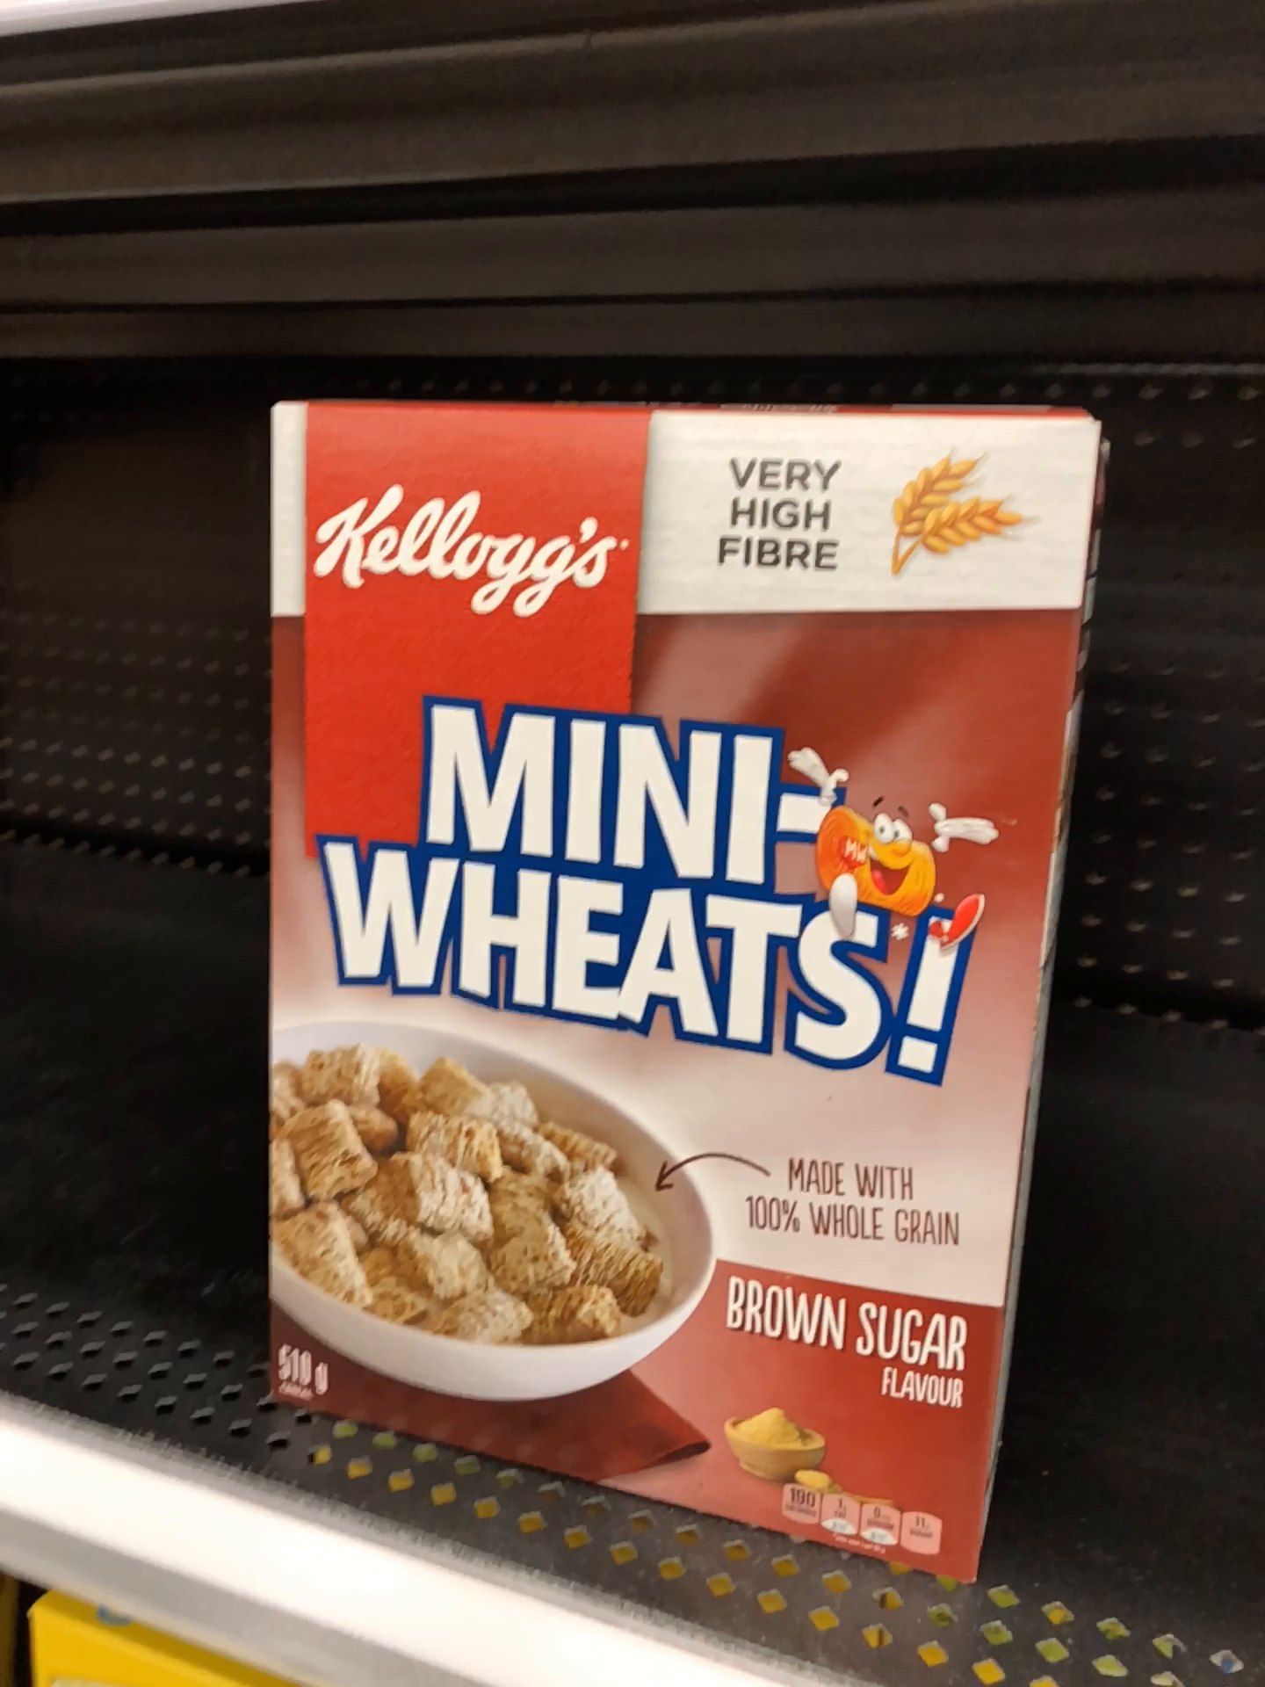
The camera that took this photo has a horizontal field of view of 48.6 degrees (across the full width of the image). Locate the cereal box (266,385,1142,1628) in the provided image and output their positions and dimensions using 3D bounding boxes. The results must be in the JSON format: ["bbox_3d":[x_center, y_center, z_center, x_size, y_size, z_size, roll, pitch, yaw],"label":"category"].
[{"bbox_3d":[0.009,0.031,0.362,0.200,0.279,0.060,7,12,18],"label":"cereal box"}]
